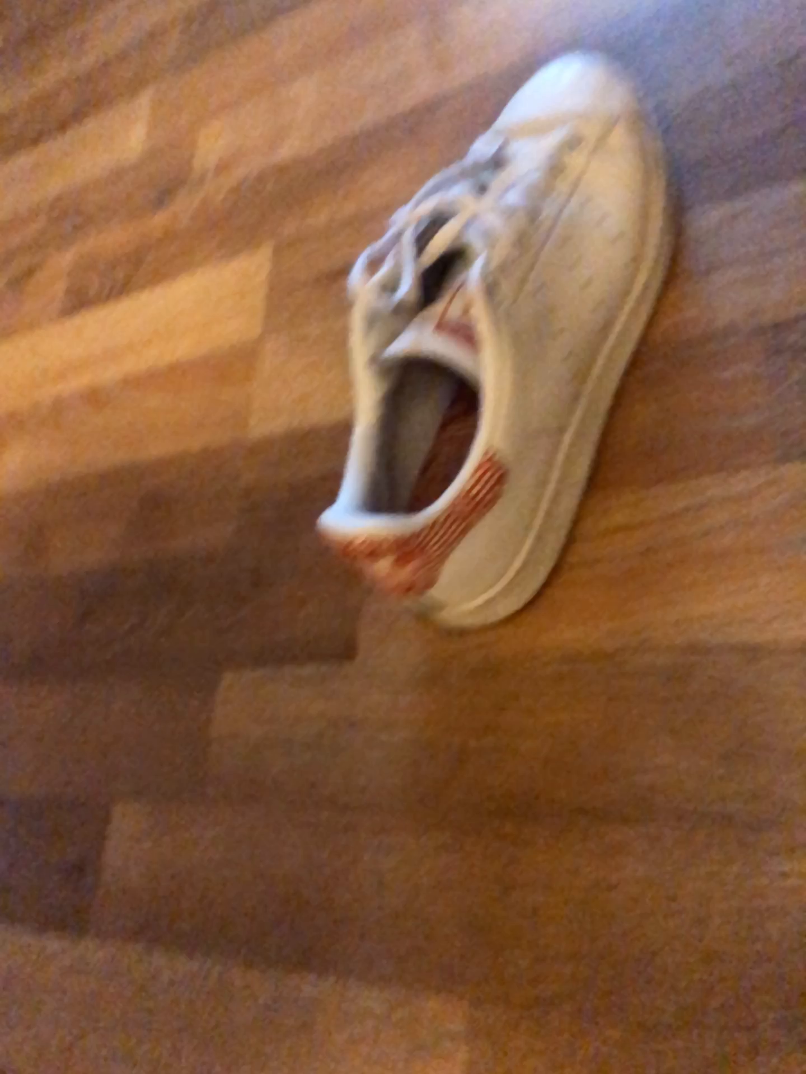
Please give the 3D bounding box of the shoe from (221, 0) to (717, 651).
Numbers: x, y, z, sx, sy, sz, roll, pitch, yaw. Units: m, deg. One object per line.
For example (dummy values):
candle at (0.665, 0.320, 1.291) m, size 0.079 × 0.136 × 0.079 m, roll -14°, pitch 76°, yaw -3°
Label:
shoe at (0.039, -0.096, 0.361) m, size 0.100 × 0.109 × 0.250 m, roll 7°, pitch 74°, yaw 35°
